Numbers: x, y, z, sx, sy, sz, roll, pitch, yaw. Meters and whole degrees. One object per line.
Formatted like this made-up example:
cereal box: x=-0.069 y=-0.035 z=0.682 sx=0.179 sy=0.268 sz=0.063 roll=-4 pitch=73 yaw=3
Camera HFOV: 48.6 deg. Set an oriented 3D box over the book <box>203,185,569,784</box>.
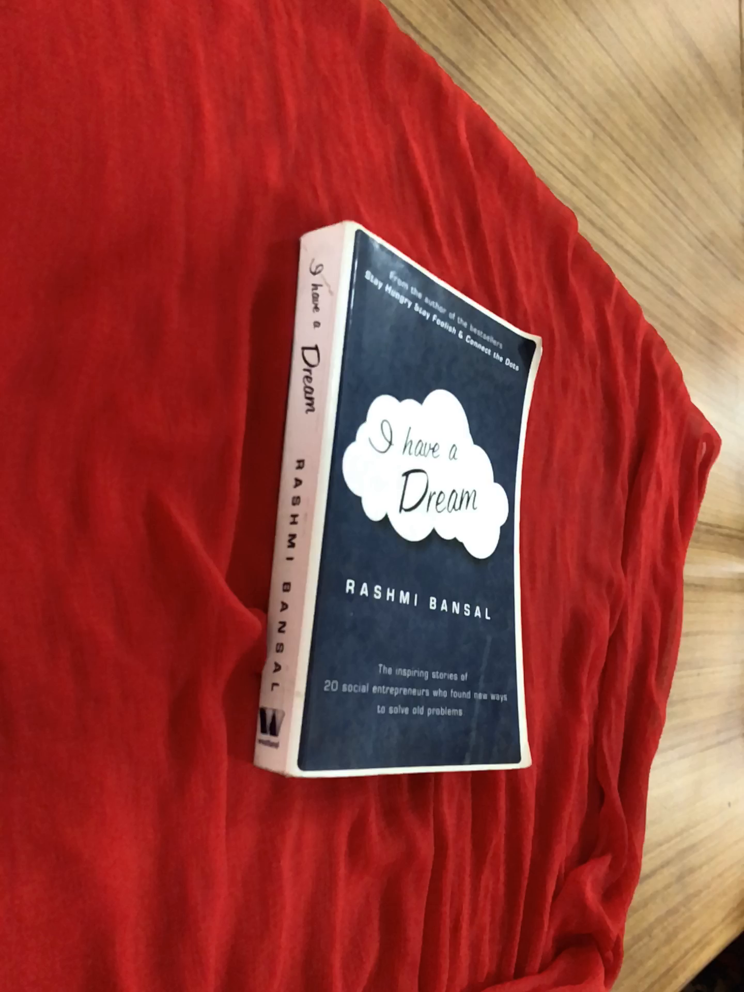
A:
book: x=0.018 y=0.005 z=0.317 sx=0.141 sy=0.040 sz=0.190 roll=16 pitch=74 yaw=-44
